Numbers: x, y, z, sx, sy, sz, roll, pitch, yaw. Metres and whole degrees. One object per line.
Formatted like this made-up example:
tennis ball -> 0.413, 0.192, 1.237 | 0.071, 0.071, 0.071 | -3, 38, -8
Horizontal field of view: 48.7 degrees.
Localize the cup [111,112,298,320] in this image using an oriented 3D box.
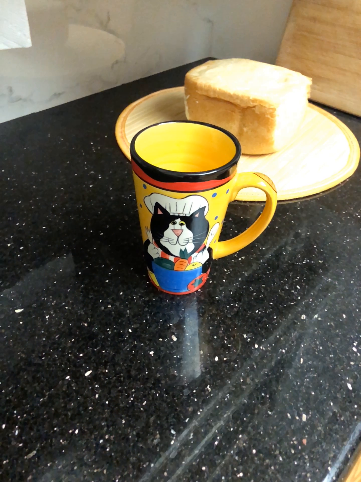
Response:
cup -> 0.020, -0.020, 0.353 | 0.130, 0.139, 0.091 | 9, 42, 6
